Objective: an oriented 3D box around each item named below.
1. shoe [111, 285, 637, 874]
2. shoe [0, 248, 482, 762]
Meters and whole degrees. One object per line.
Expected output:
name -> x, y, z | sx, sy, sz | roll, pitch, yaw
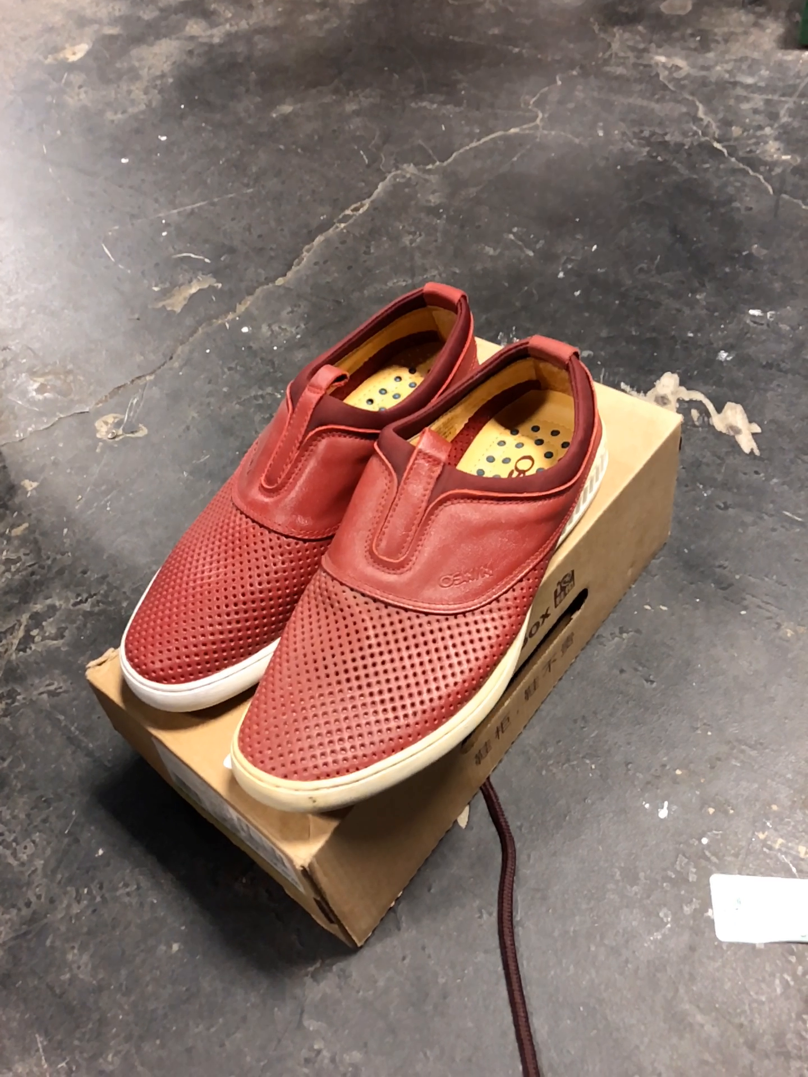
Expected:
shoe -> 0.005, 0.007, 0.403 | 0.100, 0.109, 0.231 | 24, 59, 27
shoe -> -0.068, -0.027, 0.452 | 0.100, 0.109, 0.231 | 24, 59, 27
